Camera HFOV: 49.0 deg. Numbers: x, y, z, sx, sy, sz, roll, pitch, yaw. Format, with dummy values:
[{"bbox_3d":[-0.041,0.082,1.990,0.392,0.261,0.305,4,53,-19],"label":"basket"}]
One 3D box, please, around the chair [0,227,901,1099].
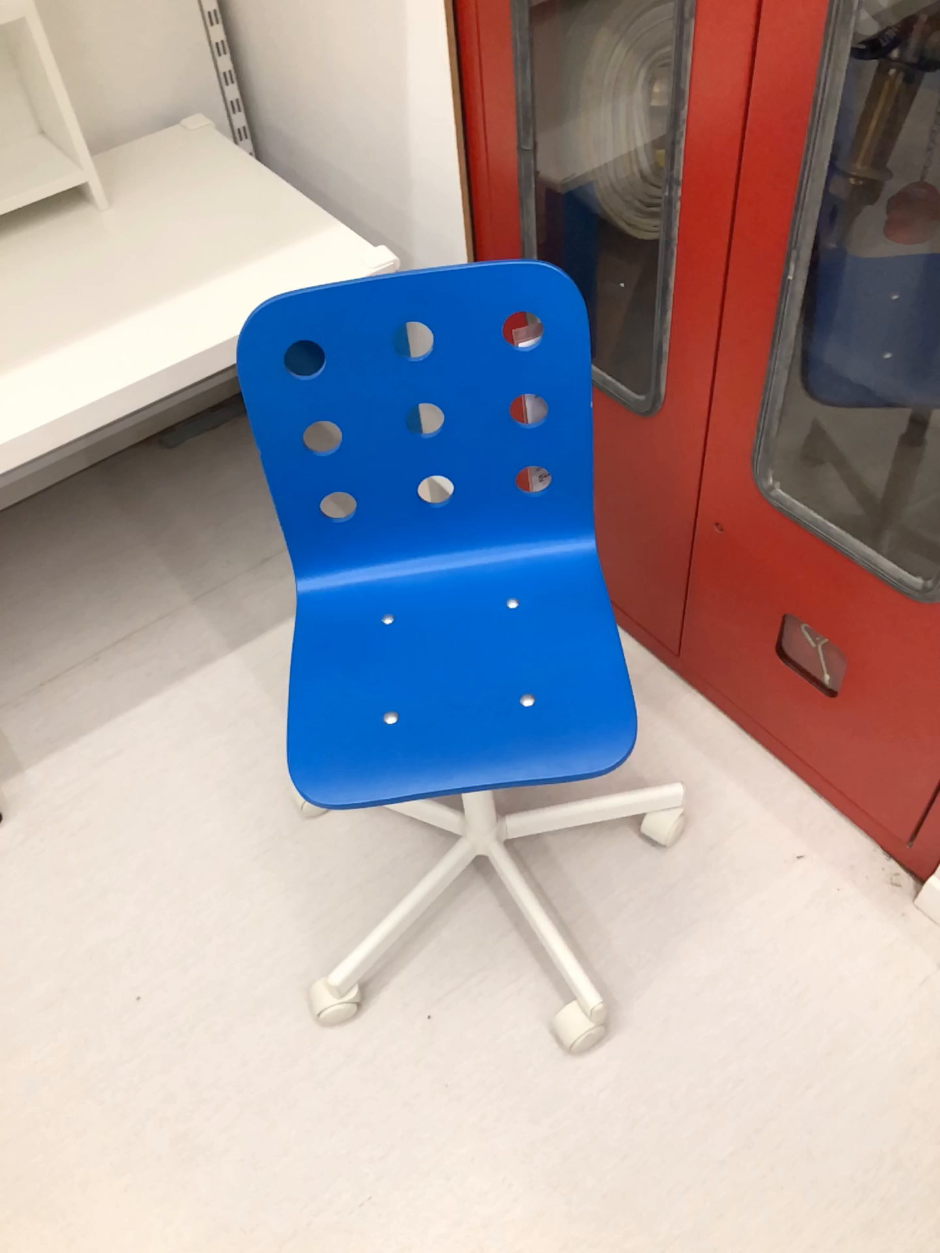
[{"bbox_3d":[-0.018,0.062,1.061,0.570,0.626,0.563,-7,50,0],"label":"chair"}]
